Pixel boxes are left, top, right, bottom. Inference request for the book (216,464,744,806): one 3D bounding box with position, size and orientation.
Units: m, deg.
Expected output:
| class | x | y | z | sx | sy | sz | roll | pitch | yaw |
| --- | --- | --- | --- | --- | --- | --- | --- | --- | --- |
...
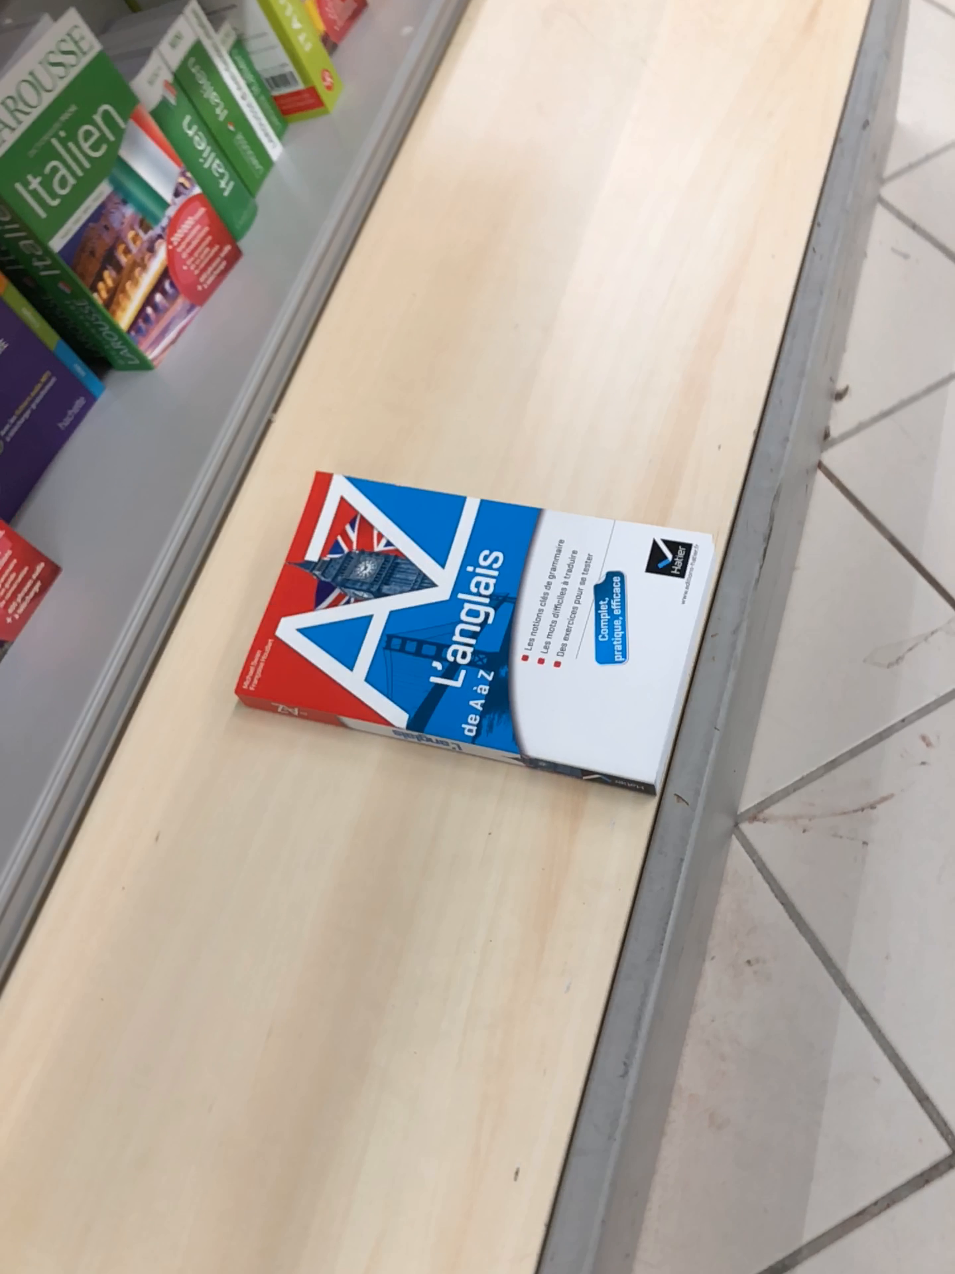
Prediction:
| class | x | y | z | sx | sy | sz | roll | pitch | yaw |
| --- | --- | --- | --- | --- | --- | --- | --- | --- | --- |
| book | 0.003 | -0.010 | 0.532 | 0.234 | 0.030 | 0.144 | 9 | 62 | 19 |
